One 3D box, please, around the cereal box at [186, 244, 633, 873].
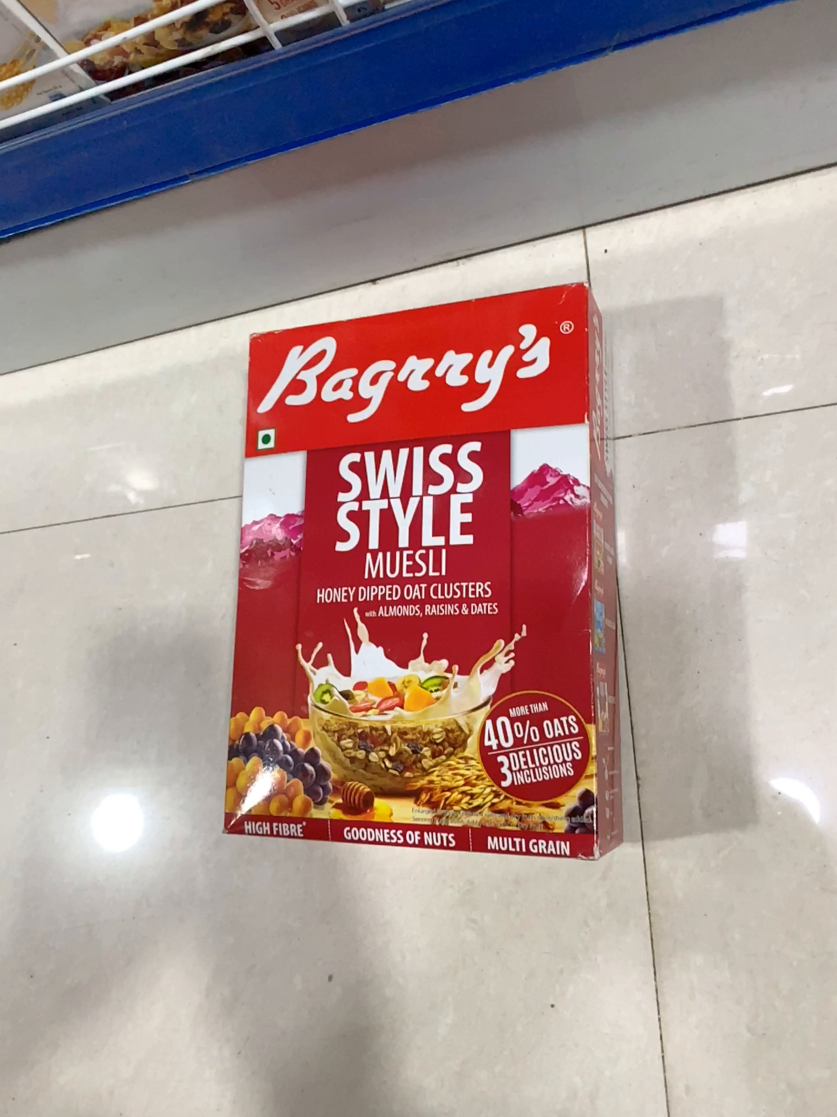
[{"bbox_3d":[0.000,0.003,0.420,0.190,0.080,0.260,-3,79,20],"label":"cereal box"}]
